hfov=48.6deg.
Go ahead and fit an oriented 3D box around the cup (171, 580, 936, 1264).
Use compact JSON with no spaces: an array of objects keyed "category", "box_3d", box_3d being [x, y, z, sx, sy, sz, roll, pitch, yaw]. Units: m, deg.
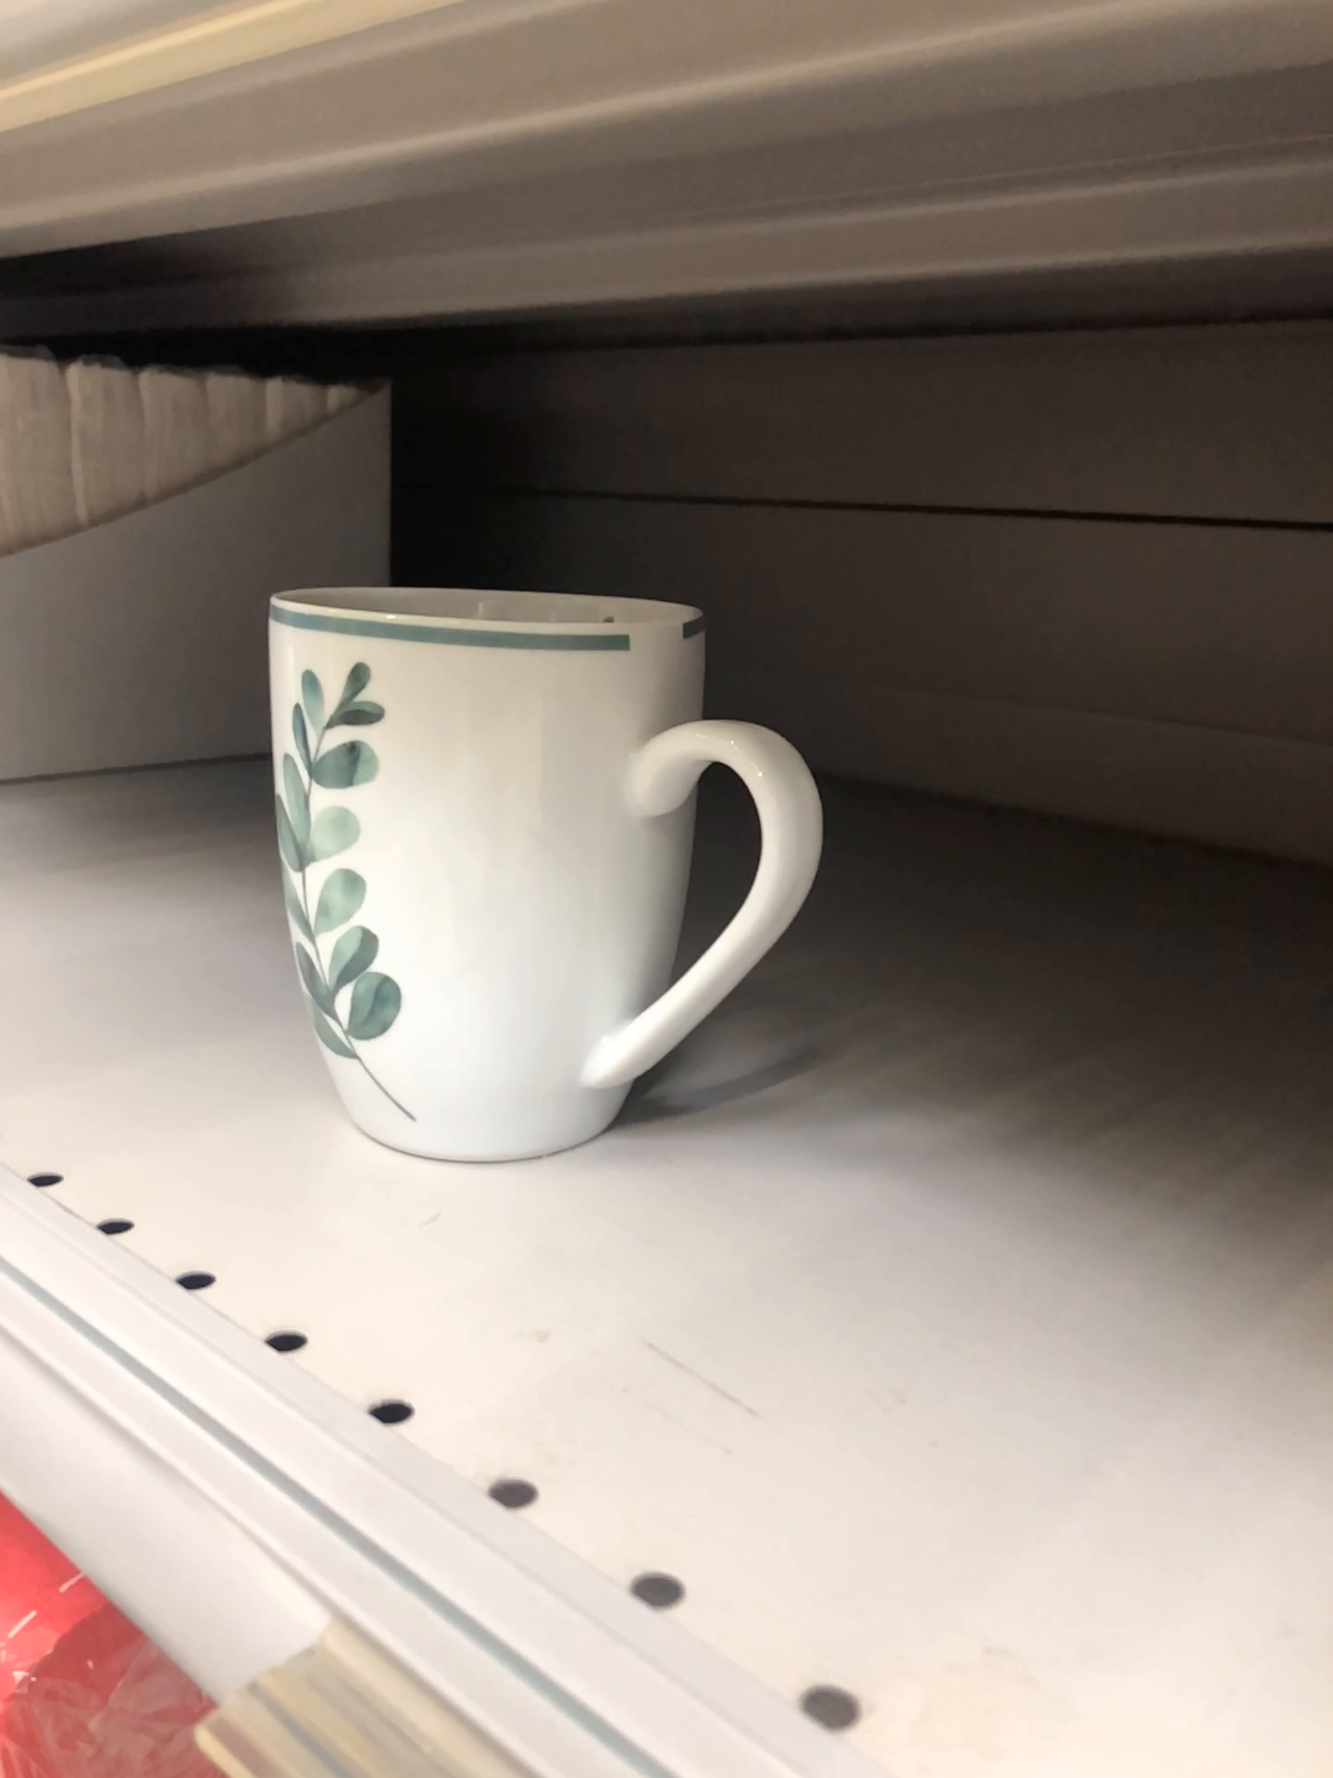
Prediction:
[{"category":"cup","box_3d":[-0.025,-0.007,0.279,0.116,0.093,0.082,16,19,42]}]
